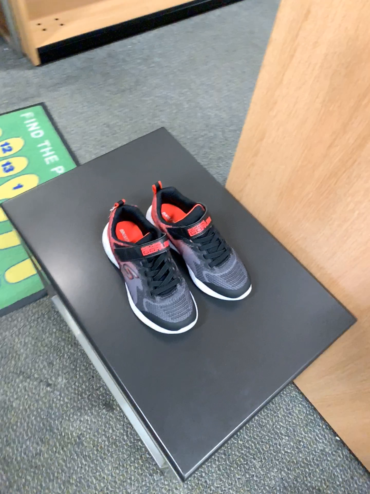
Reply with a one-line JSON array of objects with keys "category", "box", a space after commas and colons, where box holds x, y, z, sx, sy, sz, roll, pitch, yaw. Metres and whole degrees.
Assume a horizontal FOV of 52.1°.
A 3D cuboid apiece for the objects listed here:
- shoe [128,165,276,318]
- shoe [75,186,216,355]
[{"category": "shoe", "box": [0.019, -0.013, 0.620, 0.090, 0.080, 0.240, -37, 70, -24]}, {"category": "shoe", "box": [-0.068, 0.030, 0.595, 0.098, 0.080, 0.240, -28, 66, -21]}]
